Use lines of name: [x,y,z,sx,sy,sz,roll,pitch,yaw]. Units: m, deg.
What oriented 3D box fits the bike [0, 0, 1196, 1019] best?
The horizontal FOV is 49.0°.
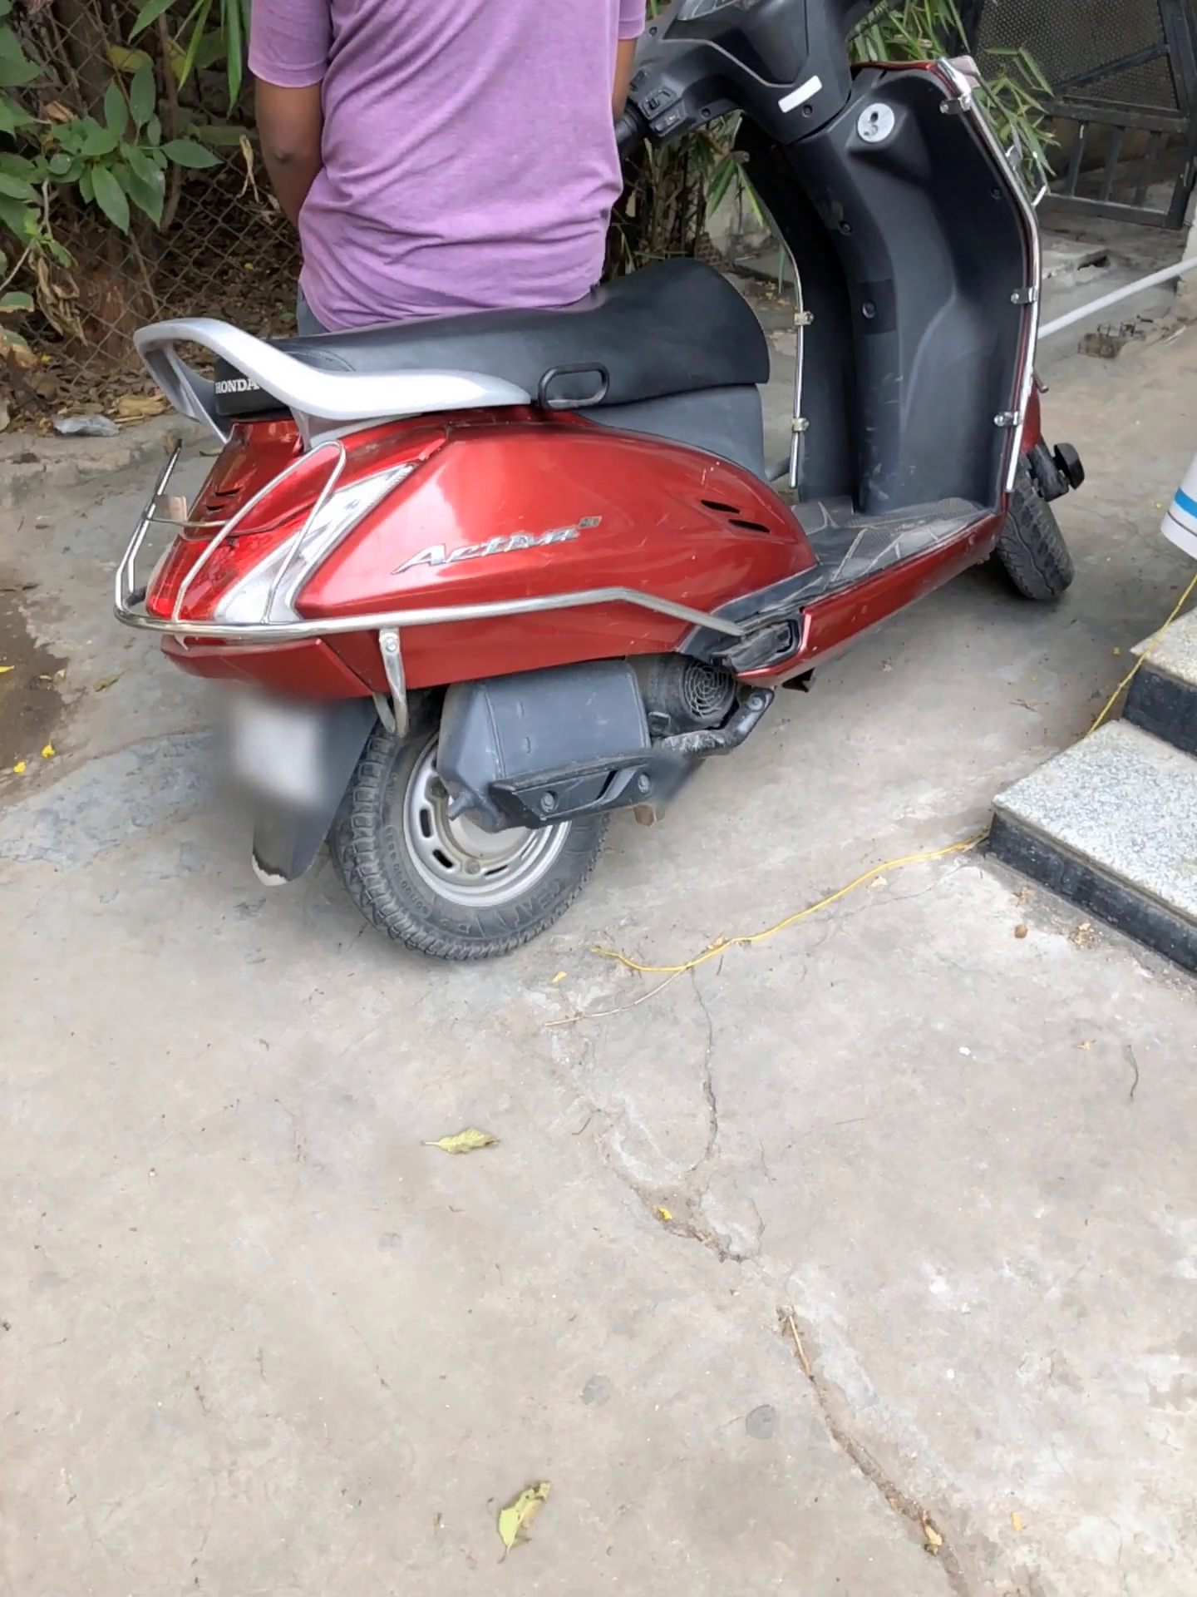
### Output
bike: [0.120,-0.647,1.777,0.572,1.056,1.485,28,47,32]
